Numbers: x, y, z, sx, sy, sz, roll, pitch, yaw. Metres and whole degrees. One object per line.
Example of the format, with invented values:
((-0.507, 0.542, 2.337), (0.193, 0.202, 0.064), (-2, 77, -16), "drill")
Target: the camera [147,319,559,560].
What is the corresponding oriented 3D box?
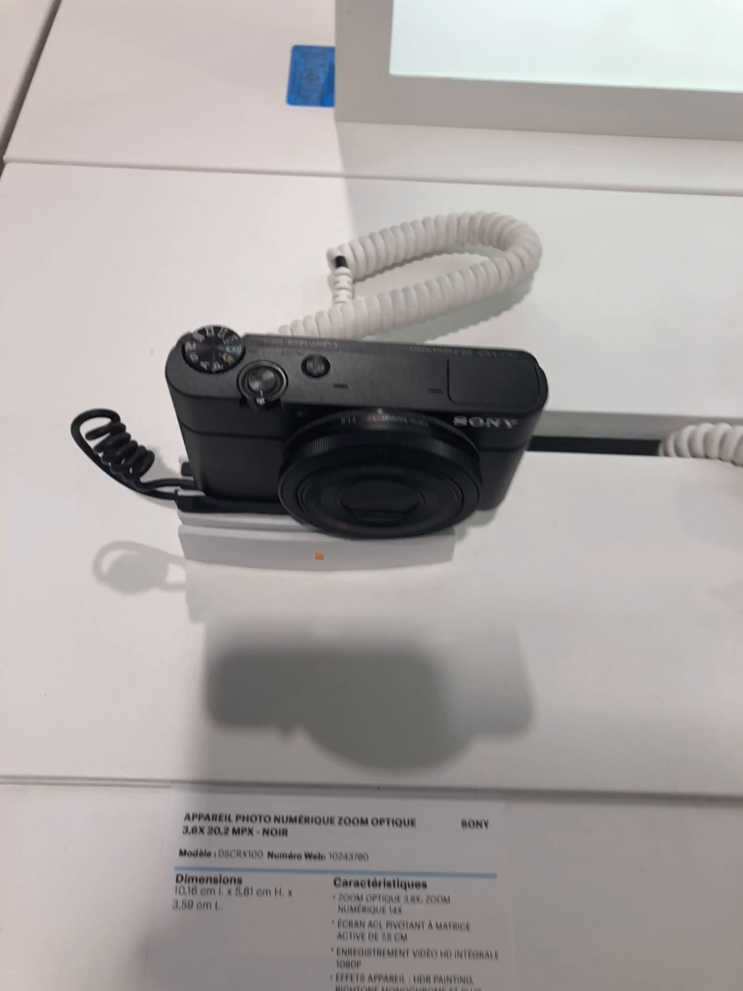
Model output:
((-0.005, -0.014, 0.234), (0.100, 0.056, 0.036), (4, 58, -1), "camera")
